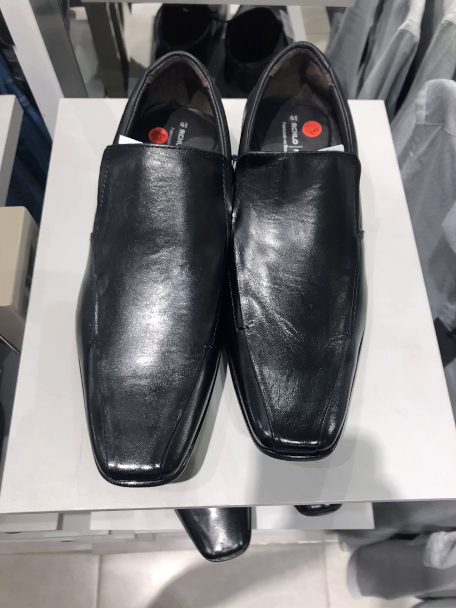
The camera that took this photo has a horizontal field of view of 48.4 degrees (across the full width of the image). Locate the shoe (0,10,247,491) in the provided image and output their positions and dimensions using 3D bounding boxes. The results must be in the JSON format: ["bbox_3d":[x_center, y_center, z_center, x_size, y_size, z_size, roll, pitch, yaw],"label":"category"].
[{"bbox_3d":[-0.044,-0.045,0.327,0.110,0.100,0.301,1,64,1],"label":"shoe"}]

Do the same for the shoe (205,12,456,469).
[{"bbox_3d":[0.048,-0.049,0.324,0.110,0.100,0.281,1,64,1],"label":"shoe"}]
